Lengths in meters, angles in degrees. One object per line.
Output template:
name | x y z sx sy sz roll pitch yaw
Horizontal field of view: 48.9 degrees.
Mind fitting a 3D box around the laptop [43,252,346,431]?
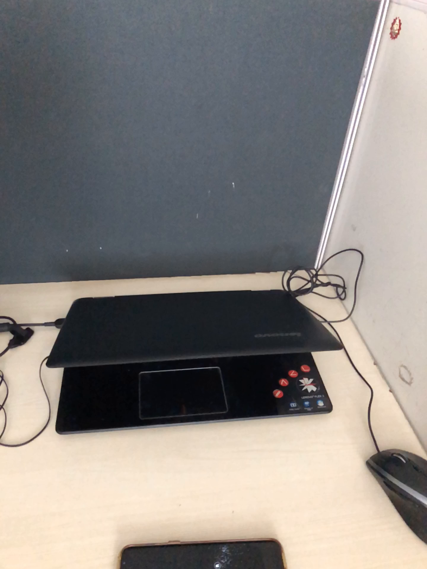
laptop | -0.030 0.059 0.614 0.326 0.082 0.221 -2 38 -8
